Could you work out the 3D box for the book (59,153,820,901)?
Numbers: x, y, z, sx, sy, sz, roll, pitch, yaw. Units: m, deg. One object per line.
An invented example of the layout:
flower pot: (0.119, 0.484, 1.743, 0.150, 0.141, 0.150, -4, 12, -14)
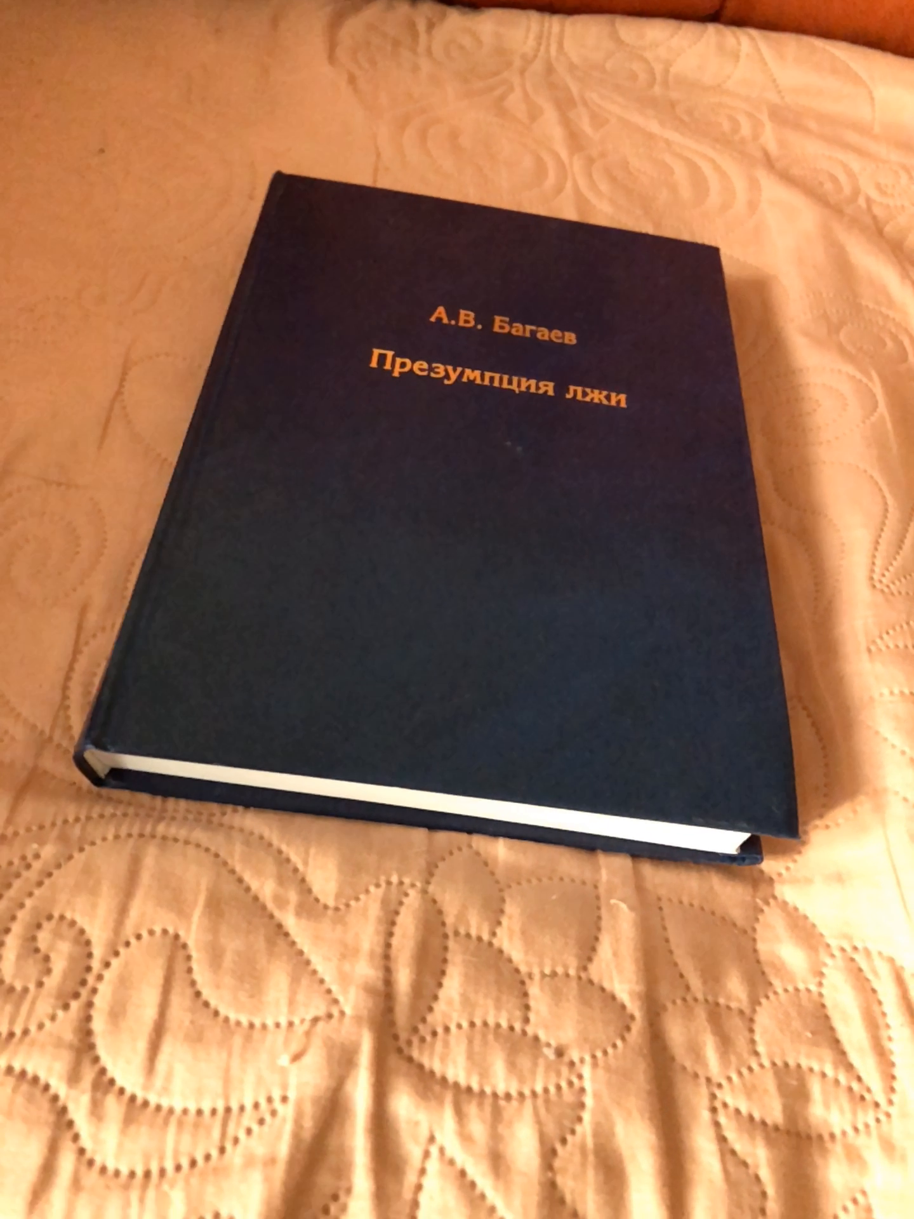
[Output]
book: (0.006, -0.049, 0.326, 0.180, 0.030, 0.262, 8, 54, -3)
